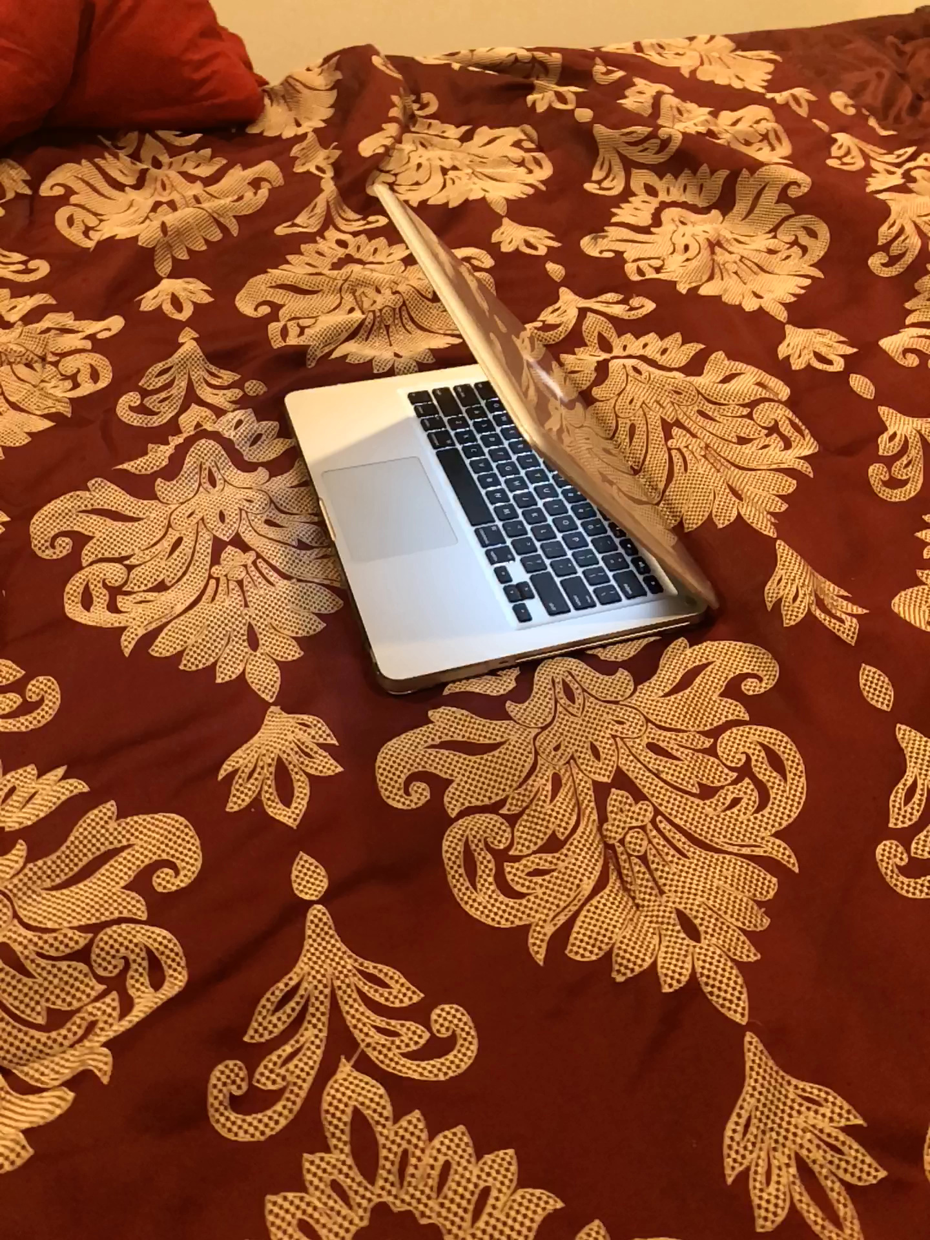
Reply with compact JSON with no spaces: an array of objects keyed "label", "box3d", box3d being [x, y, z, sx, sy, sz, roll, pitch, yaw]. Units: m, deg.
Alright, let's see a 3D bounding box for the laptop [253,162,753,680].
[{"label":"laptop","box3d":[0.002,-0.150,0.683,0.212,0.156,0.313,-12,48,-14]}]
